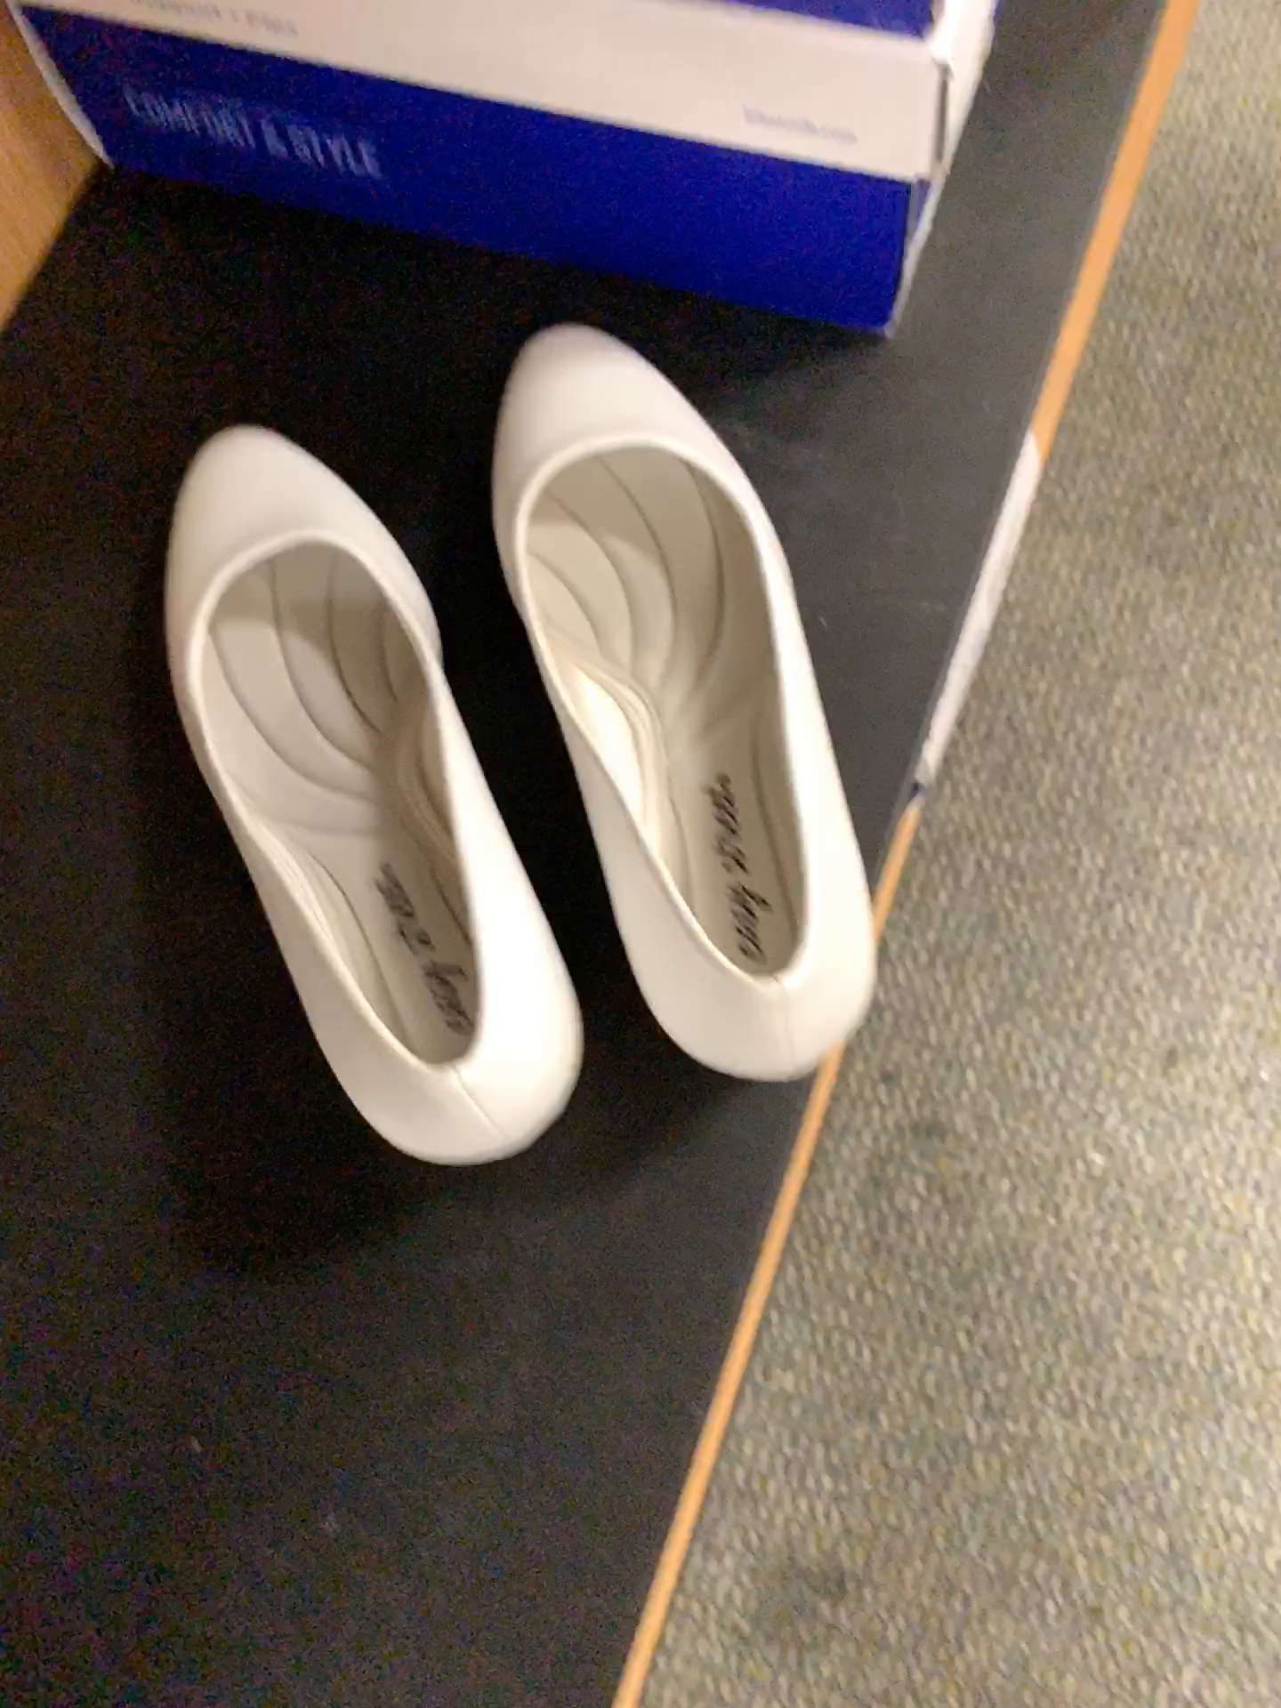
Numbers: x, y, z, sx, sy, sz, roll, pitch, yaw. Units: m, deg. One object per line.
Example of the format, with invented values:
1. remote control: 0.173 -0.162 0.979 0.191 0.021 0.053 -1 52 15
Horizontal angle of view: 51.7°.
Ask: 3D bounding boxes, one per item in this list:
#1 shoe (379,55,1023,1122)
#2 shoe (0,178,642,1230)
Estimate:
1. shoe: 0.008 -0.067 0.361 0.090 0.110 0.250 -14 72 -1
2. shoe: -0.085 -0.037 0.354 0.080 0.100 0.250 -21 72 -4
